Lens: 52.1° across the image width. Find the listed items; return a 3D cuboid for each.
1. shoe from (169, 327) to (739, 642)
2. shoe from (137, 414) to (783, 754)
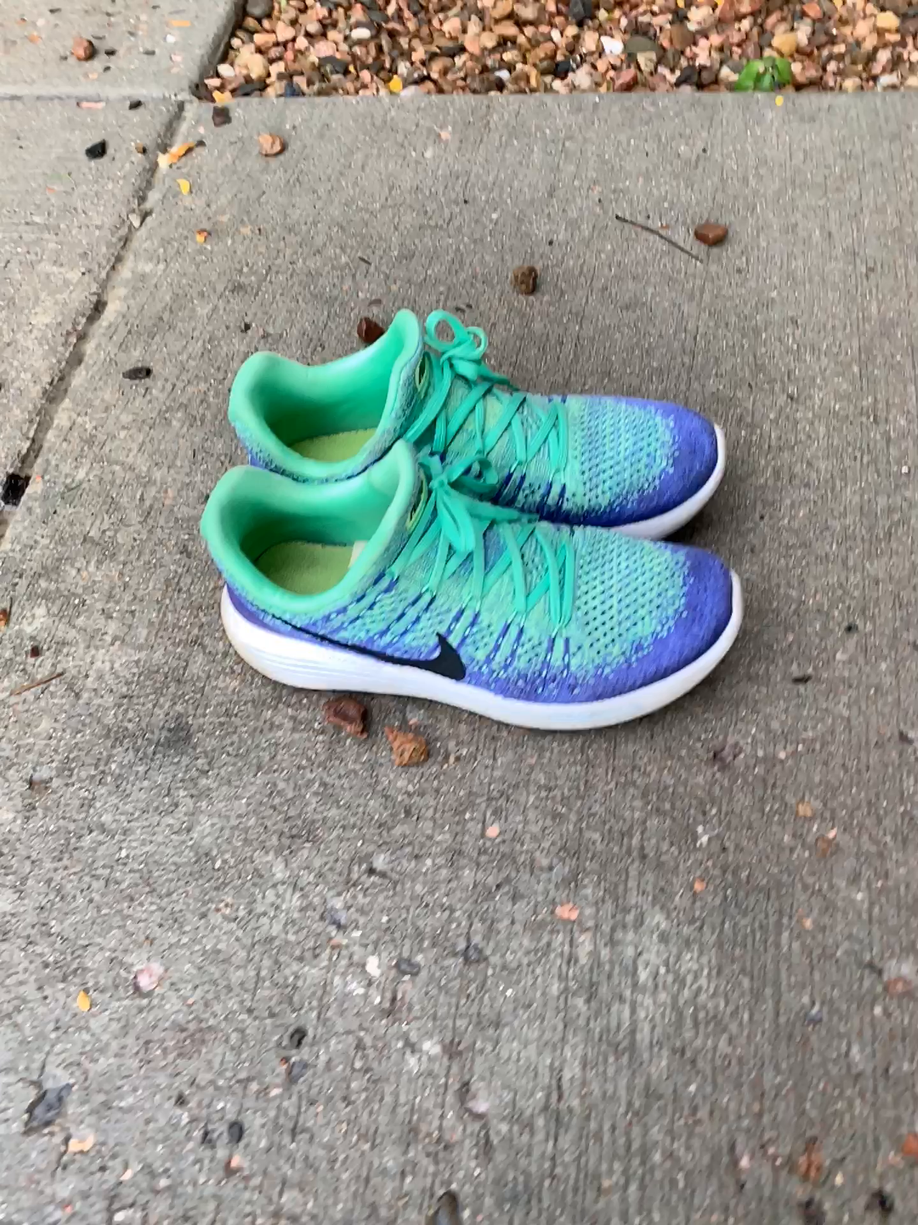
[{"bbox_3d":[0.002,-0.074,0.553,0.290,0.110,0.120,5,59,4],"label":"shoe"},{"bbox_3d":[0.003,-0.013,0.465,0.270,0.110,0.100,5,54,4],"label":"shoe"}]
